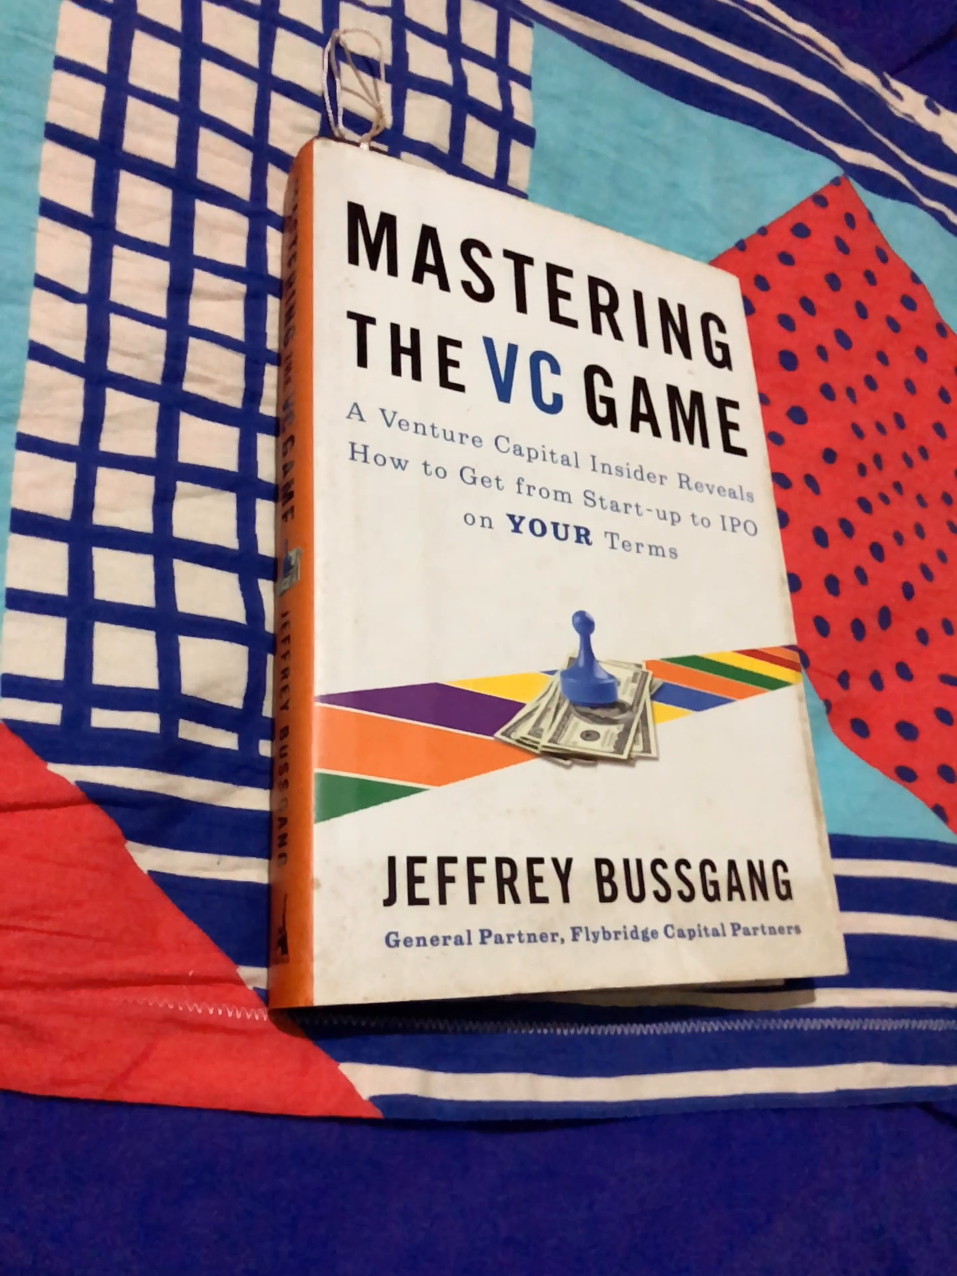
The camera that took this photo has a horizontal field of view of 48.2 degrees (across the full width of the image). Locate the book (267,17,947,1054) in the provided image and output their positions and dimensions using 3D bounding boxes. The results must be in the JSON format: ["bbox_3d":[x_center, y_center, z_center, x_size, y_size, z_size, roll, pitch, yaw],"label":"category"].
[{"bbox_3d":[0.031,-0.031,0.326,0.181,0.050,0.280,6,68,-27],"label":"book"}]
